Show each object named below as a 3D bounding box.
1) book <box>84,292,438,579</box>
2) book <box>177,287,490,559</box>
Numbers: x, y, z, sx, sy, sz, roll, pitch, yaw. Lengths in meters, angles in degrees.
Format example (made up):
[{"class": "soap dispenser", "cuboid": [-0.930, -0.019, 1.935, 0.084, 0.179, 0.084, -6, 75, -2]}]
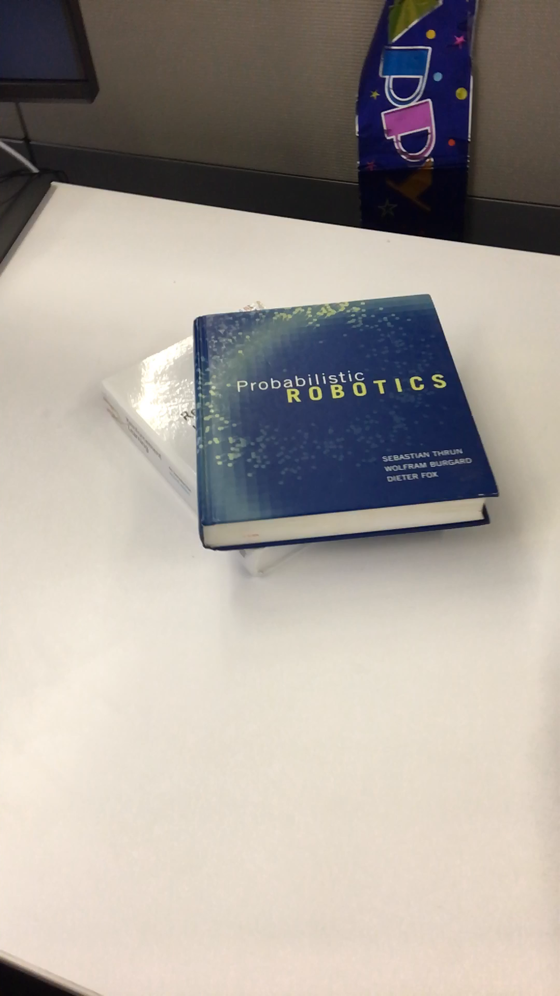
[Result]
[{"class": "book", "cuboid": [-0.022, -0.068, 0.702, 0.190, 0.030, 0.240, -32, 55, -20]}, {"class": "book", "cuboid": [0.028, -0.070, 0.656, 0.210, 0.030, 0.240, -7, 50, -1]}]
